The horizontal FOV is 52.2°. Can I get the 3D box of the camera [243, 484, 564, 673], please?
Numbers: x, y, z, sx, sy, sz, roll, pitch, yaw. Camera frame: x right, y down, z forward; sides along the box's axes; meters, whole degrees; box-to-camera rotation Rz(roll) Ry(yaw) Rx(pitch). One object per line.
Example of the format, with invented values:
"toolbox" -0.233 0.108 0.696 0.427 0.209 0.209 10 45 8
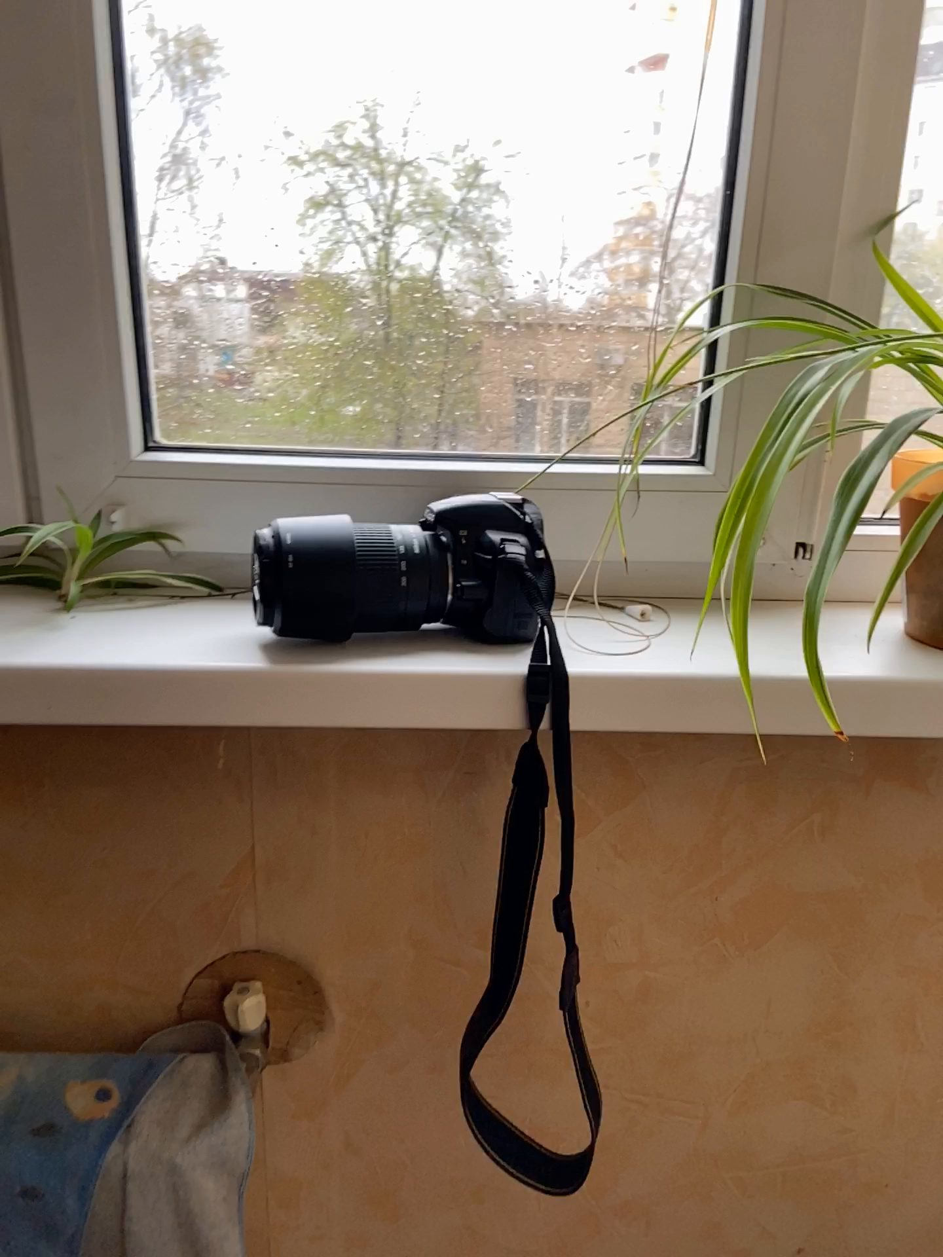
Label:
"camera" -0.052 -0.041 0.660 0.190 0.089 0.126 -4 19 -18
